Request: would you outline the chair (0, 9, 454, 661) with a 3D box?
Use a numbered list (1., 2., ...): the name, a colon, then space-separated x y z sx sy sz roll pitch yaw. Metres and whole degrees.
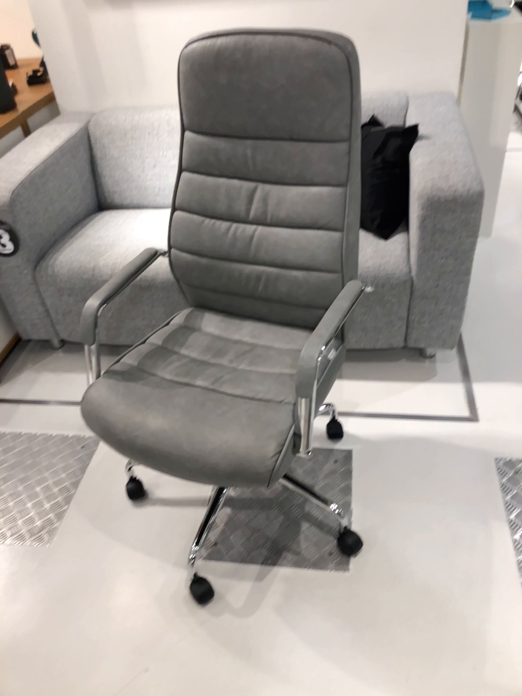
1. chair: -0.082 -0.052 1.238 0.721 1.052 0.724 12 42 22
